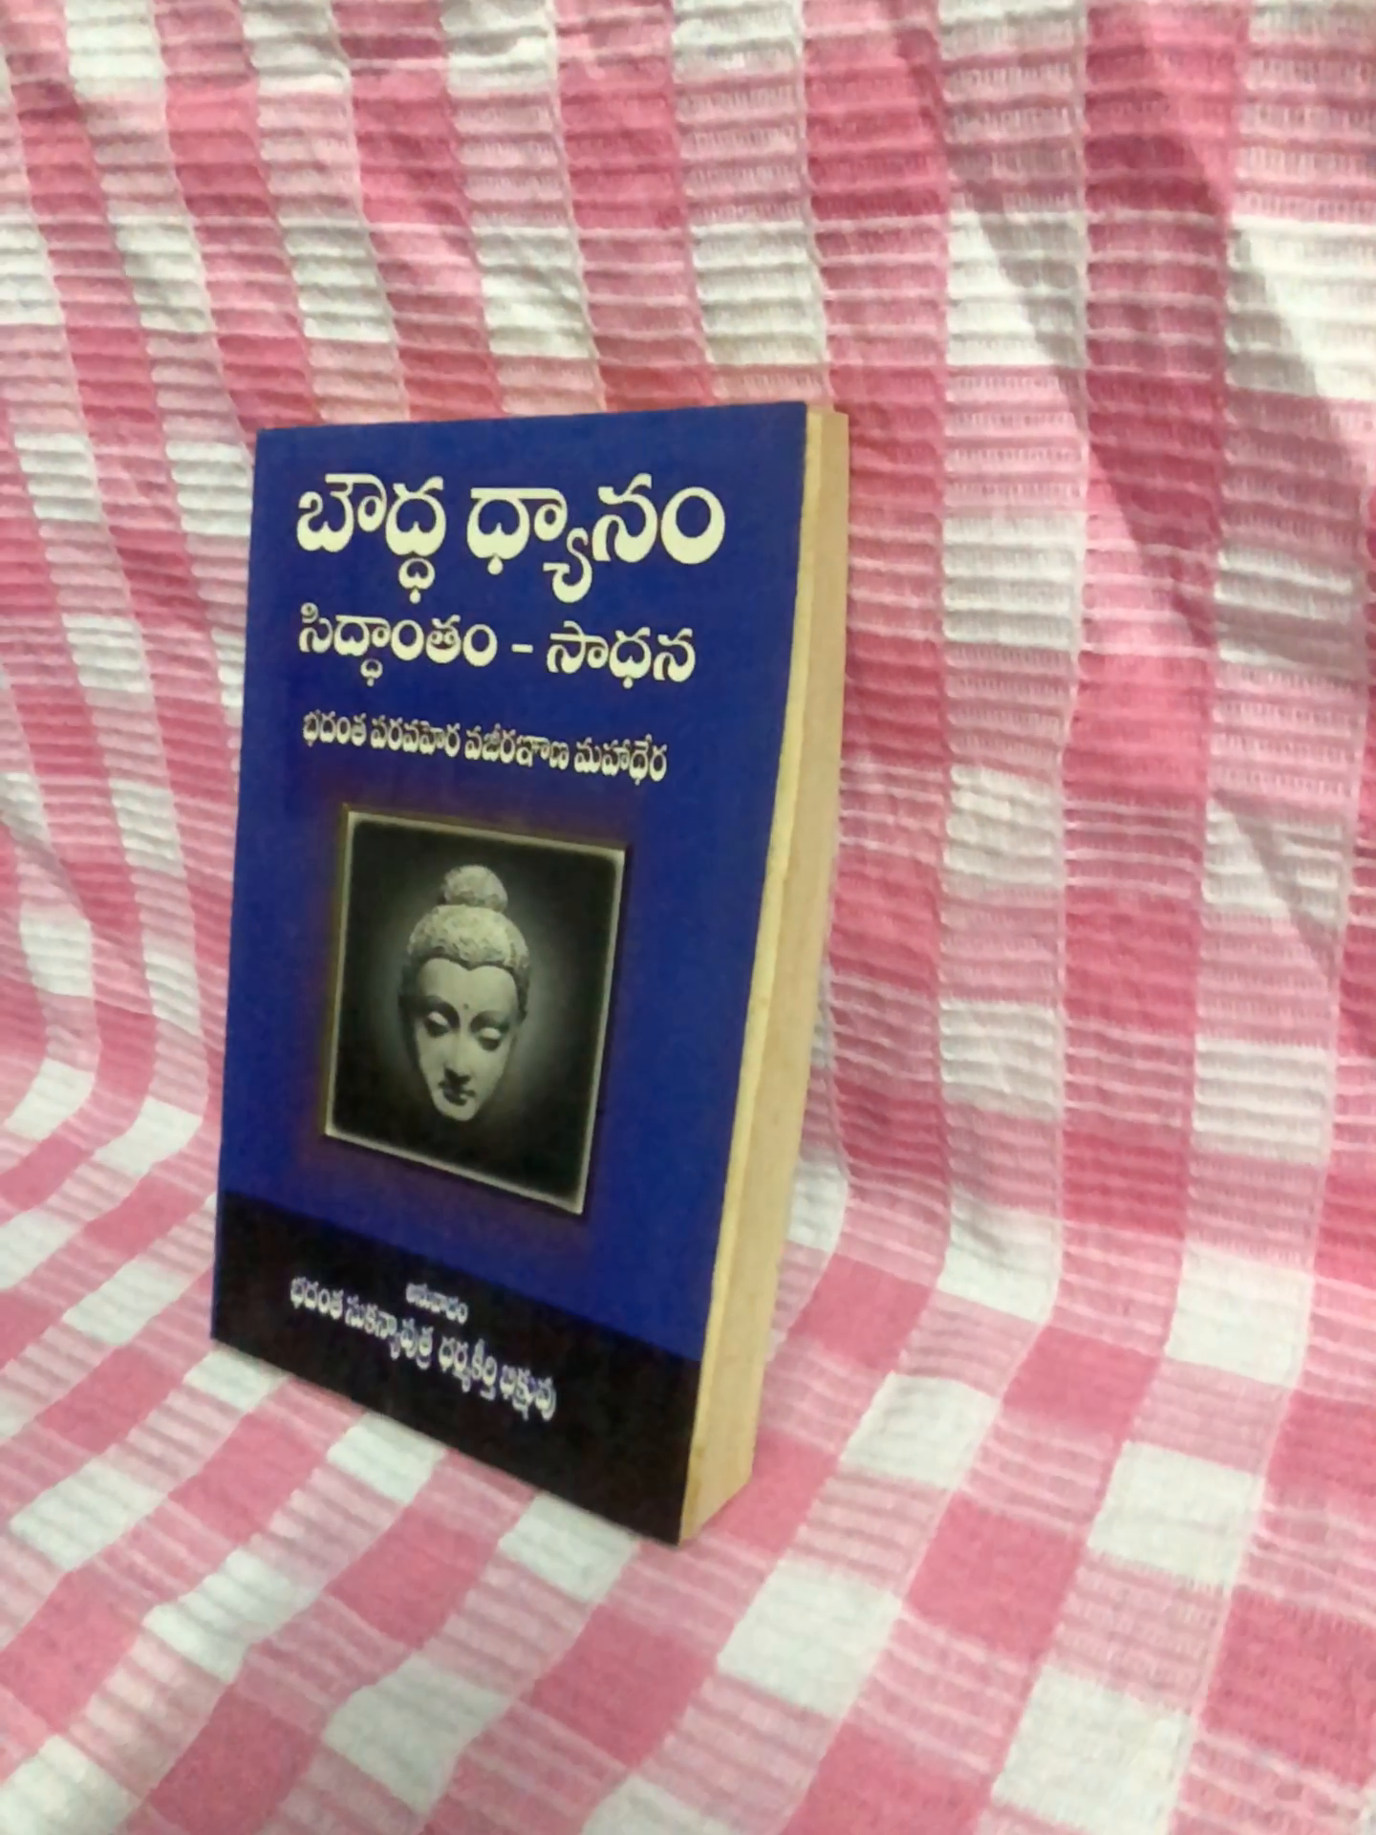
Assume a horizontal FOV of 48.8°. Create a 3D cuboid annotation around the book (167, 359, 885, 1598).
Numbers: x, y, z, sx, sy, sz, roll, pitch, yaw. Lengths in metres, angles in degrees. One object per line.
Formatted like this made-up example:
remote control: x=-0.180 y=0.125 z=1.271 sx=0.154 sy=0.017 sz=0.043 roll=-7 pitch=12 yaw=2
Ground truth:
book: x=-0.046 y=0.004 z=0.336 sx=0.160 sy=0.230 sz=0.030 roll=9 pitch=7 yaw=34
